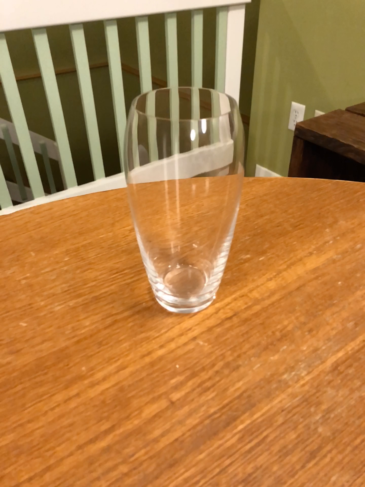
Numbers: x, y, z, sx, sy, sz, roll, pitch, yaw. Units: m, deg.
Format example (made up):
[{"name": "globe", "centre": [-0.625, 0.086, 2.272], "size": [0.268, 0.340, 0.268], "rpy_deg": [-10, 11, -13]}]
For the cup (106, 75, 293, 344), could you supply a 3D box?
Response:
[{"name": "cup", "centre": [0.010, -0.024, 0.291], "size": [0.081, 0.156, 0.082], "rpy_deg": [-1, 37, 0]}]
